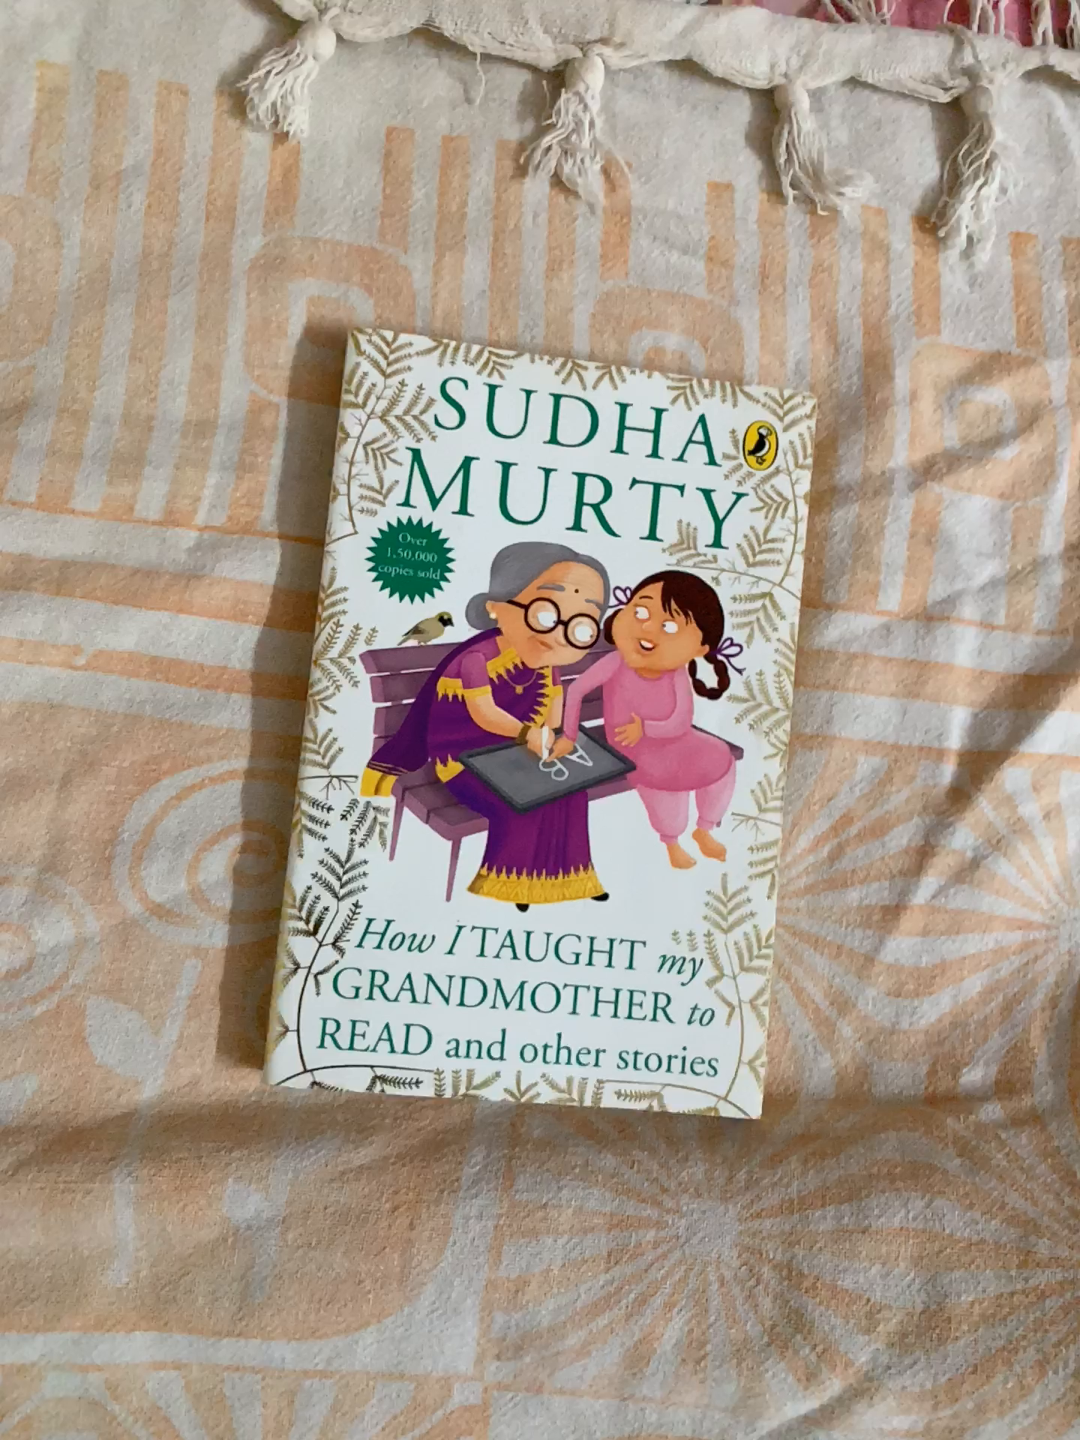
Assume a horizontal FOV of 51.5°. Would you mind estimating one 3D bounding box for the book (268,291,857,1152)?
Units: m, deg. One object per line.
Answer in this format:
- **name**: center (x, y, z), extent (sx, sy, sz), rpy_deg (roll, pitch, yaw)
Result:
- **book**: center (0.010, -0.001, 0.282), extent (0.130, 0.020, 0.200), rpy_deg (5, 82, -6)
